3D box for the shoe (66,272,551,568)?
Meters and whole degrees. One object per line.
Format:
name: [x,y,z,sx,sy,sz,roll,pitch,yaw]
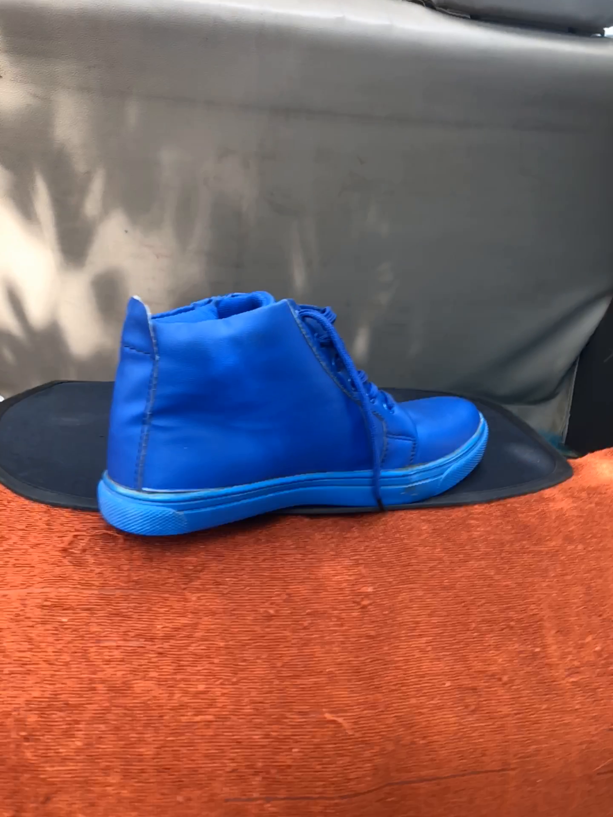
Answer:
shoe: [0.005,-0.010,0.443,0.291,0.139,0.100,-5,20,-27]
